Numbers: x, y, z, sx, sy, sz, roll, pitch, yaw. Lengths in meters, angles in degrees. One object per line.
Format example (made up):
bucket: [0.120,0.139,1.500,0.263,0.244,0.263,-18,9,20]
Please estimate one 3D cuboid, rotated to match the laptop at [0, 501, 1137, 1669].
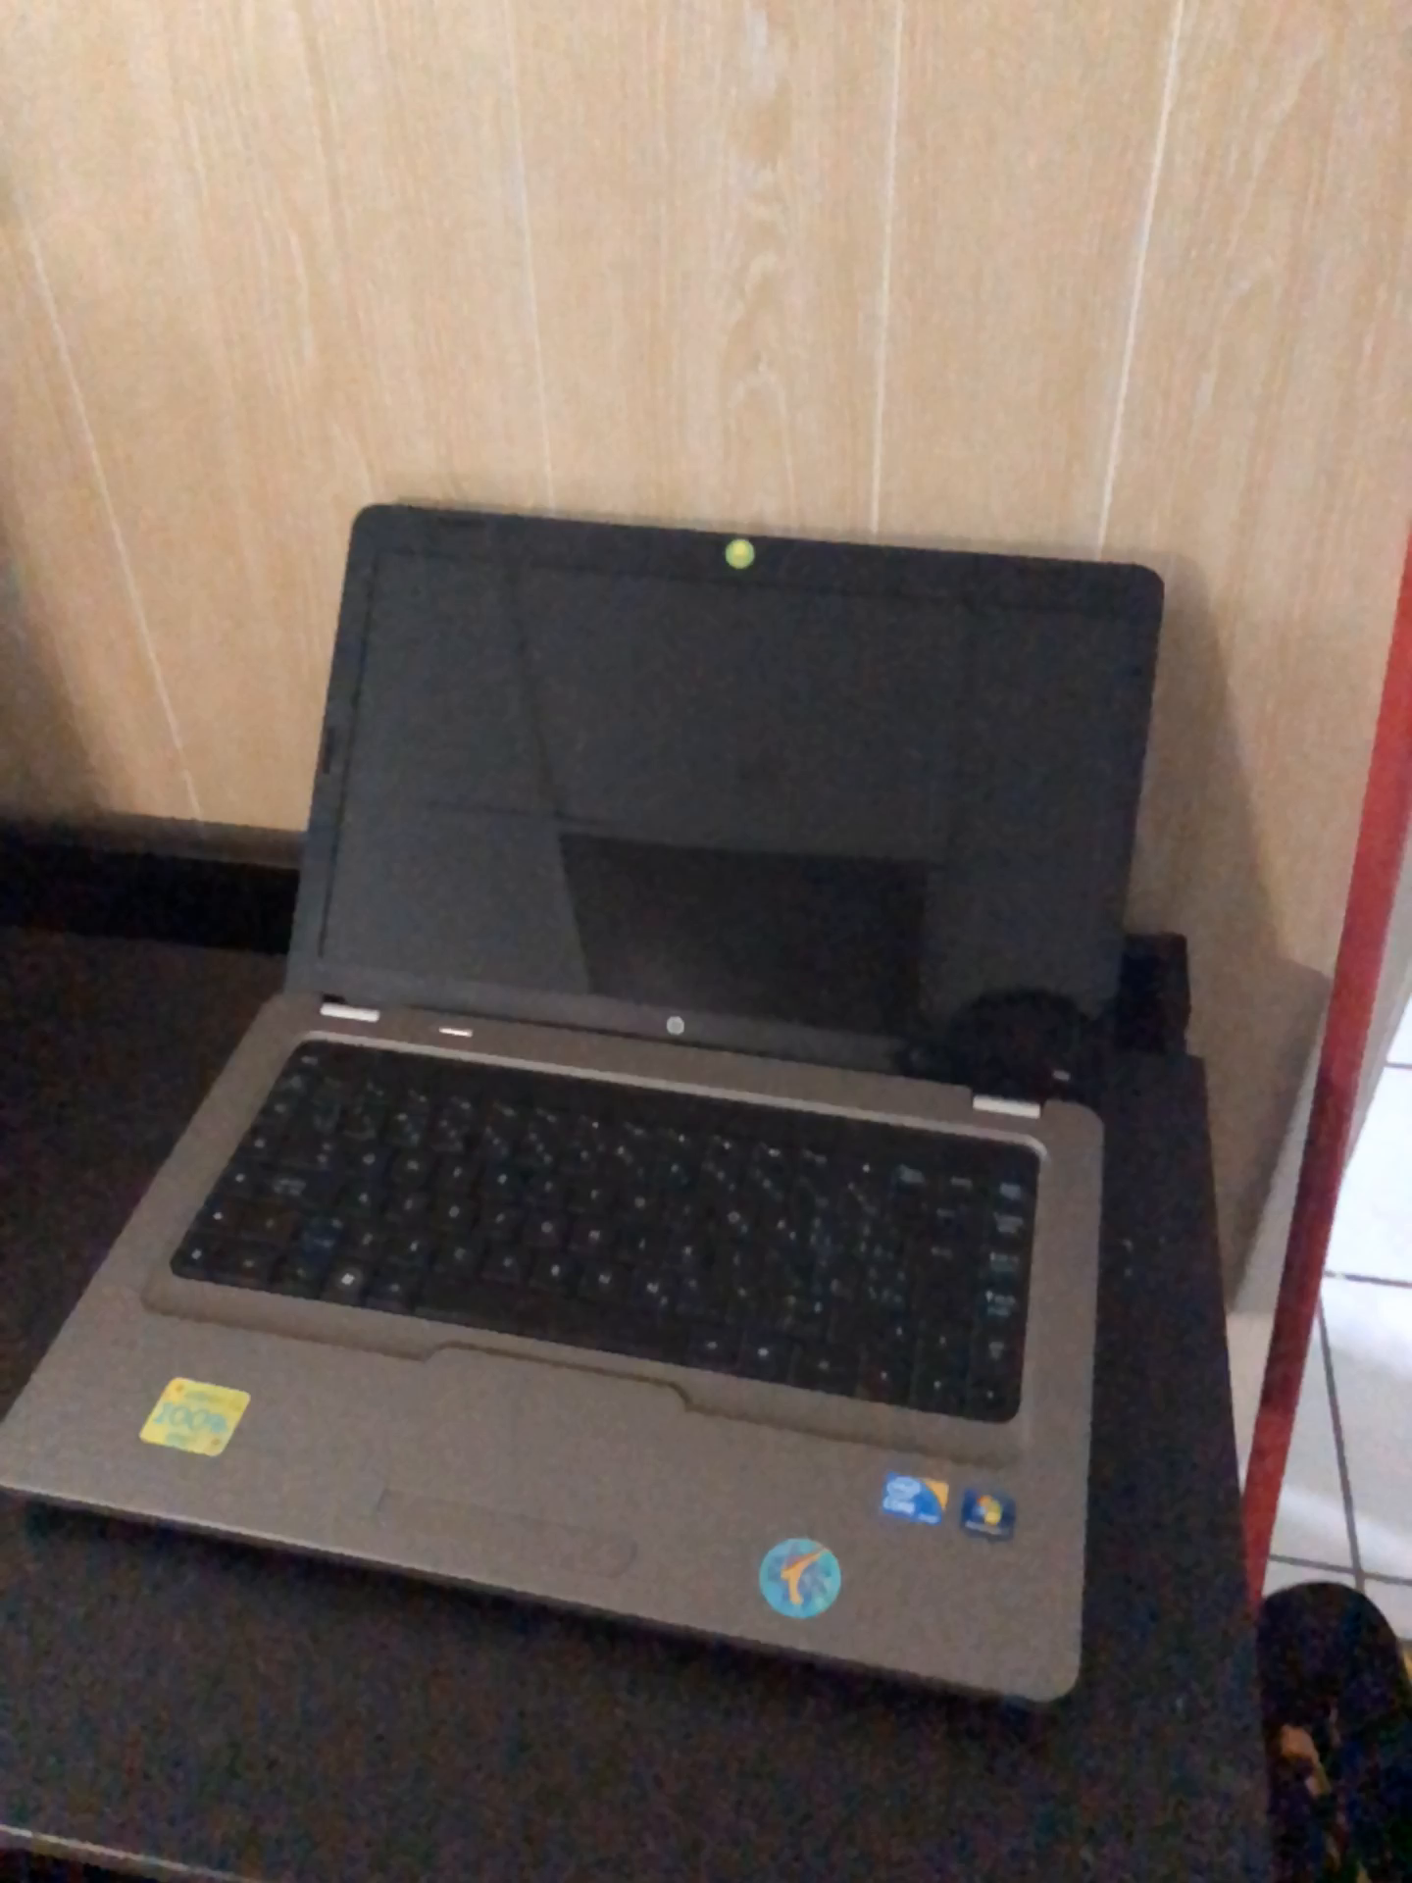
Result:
laptop: [-0.033,0.005,0.609,0.363,0.154,0.420,8,42,11]
